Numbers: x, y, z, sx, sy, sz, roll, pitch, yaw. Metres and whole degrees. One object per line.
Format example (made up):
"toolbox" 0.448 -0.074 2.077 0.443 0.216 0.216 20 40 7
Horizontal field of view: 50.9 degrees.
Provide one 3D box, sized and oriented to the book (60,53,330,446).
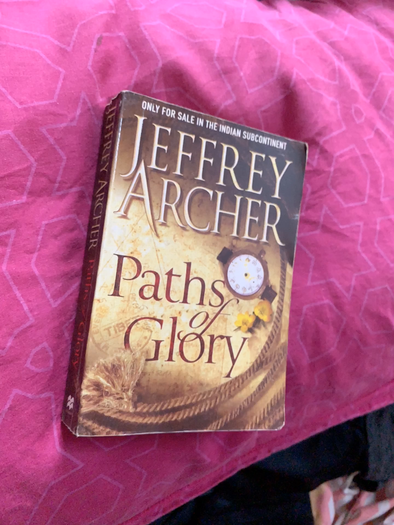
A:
"book" 0.002 0.000 0.226 0.120 0.040 0.180 9 84 -20
